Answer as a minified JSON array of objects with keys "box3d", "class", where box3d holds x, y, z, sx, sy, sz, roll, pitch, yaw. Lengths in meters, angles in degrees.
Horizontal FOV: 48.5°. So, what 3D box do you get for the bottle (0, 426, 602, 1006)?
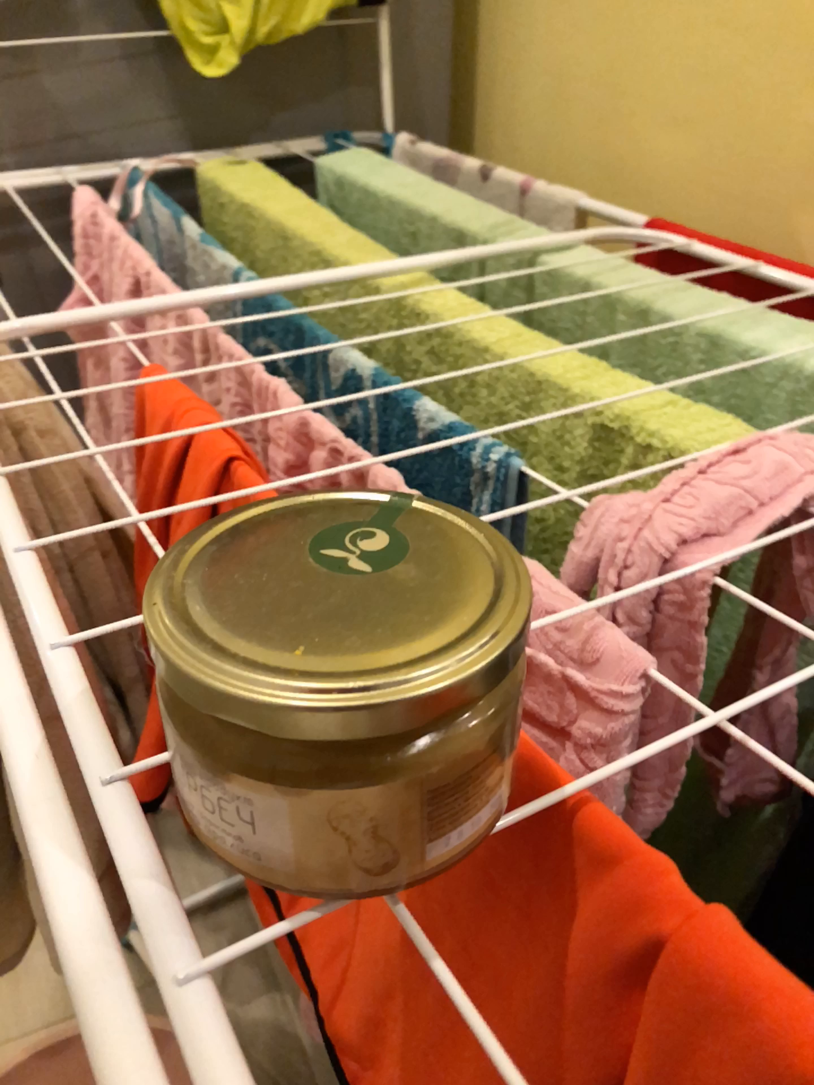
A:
[{"box3d":[-0.019,0.028,0.207,0.090,0.060,0.091,0,33,0],"class":"bottle"}]
